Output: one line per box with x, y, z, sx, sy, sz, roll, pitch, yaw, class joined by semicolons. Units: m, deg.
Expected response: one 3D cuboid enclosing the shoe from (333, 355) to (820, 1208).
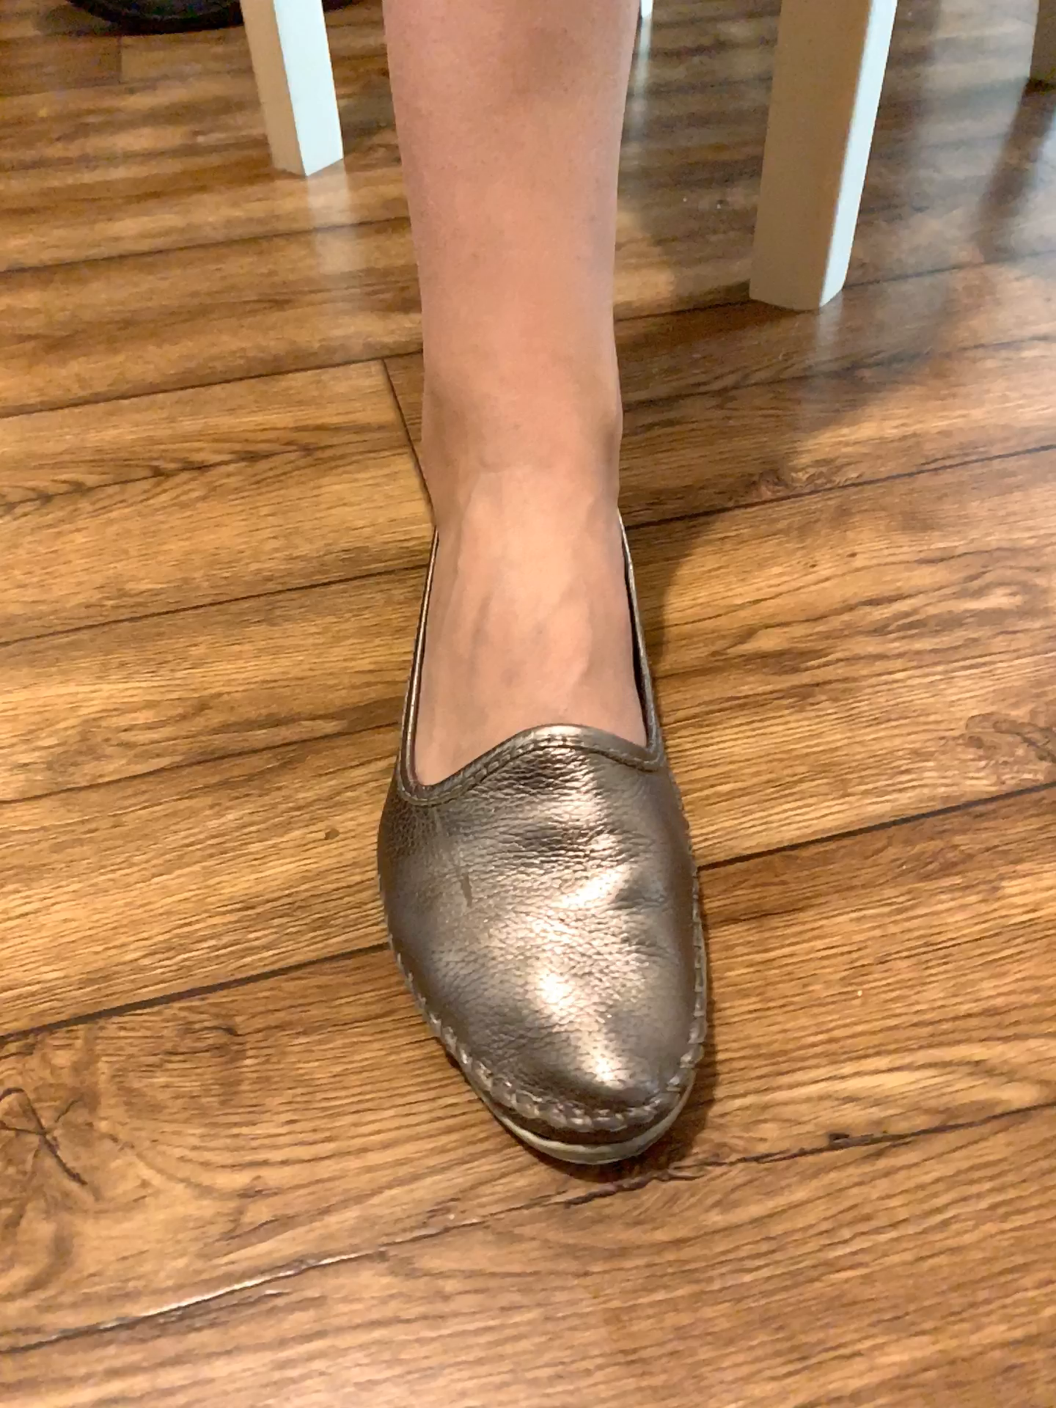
0.004;0.007;0.307;0.095;0.070;0.231;-4;55;0;shoe
